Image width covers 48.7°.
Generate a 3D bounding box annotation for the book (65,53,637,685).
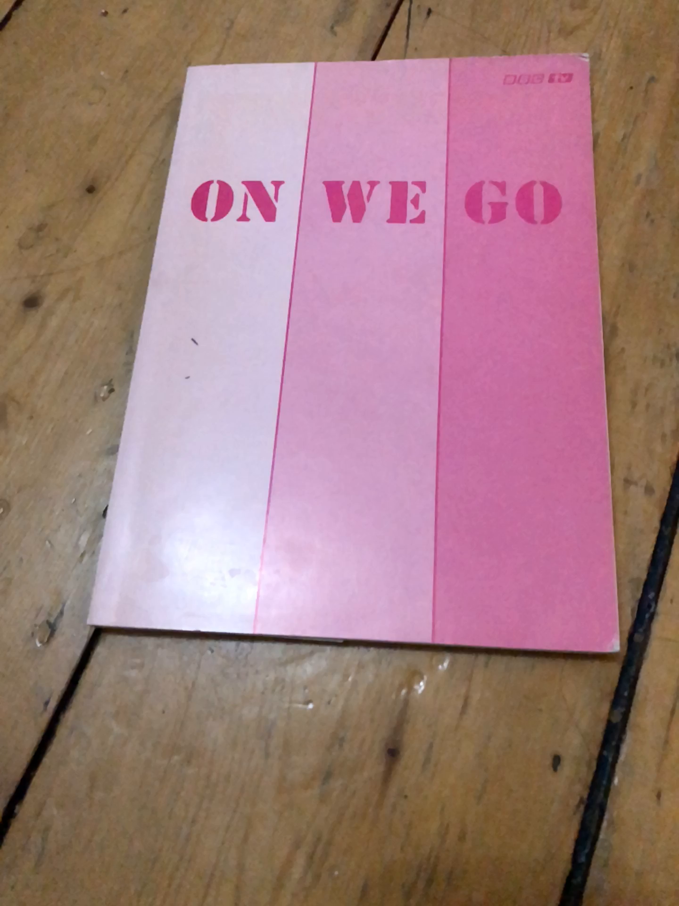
[{"bbox_3d":[0.008,-0.042,0.256,0.160,0.020,0.221,2,70,6],"label":"book"}]
